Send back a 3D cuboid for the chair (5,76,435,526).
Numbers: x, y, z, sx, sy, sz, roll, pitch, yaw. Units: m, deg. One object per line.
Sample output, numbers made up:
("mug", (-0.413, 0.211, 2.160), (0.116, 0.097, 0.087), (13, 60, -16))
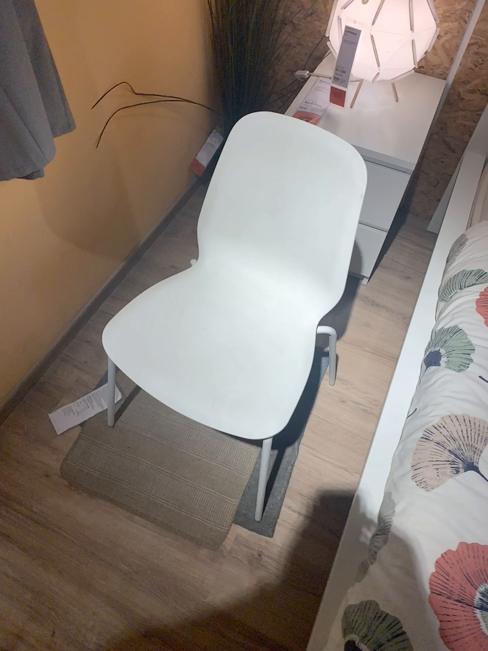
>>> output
("chair", (-0.029, -0.017, 1.179), (0.540, 0.758, 0.561), (27, 57, 15))
